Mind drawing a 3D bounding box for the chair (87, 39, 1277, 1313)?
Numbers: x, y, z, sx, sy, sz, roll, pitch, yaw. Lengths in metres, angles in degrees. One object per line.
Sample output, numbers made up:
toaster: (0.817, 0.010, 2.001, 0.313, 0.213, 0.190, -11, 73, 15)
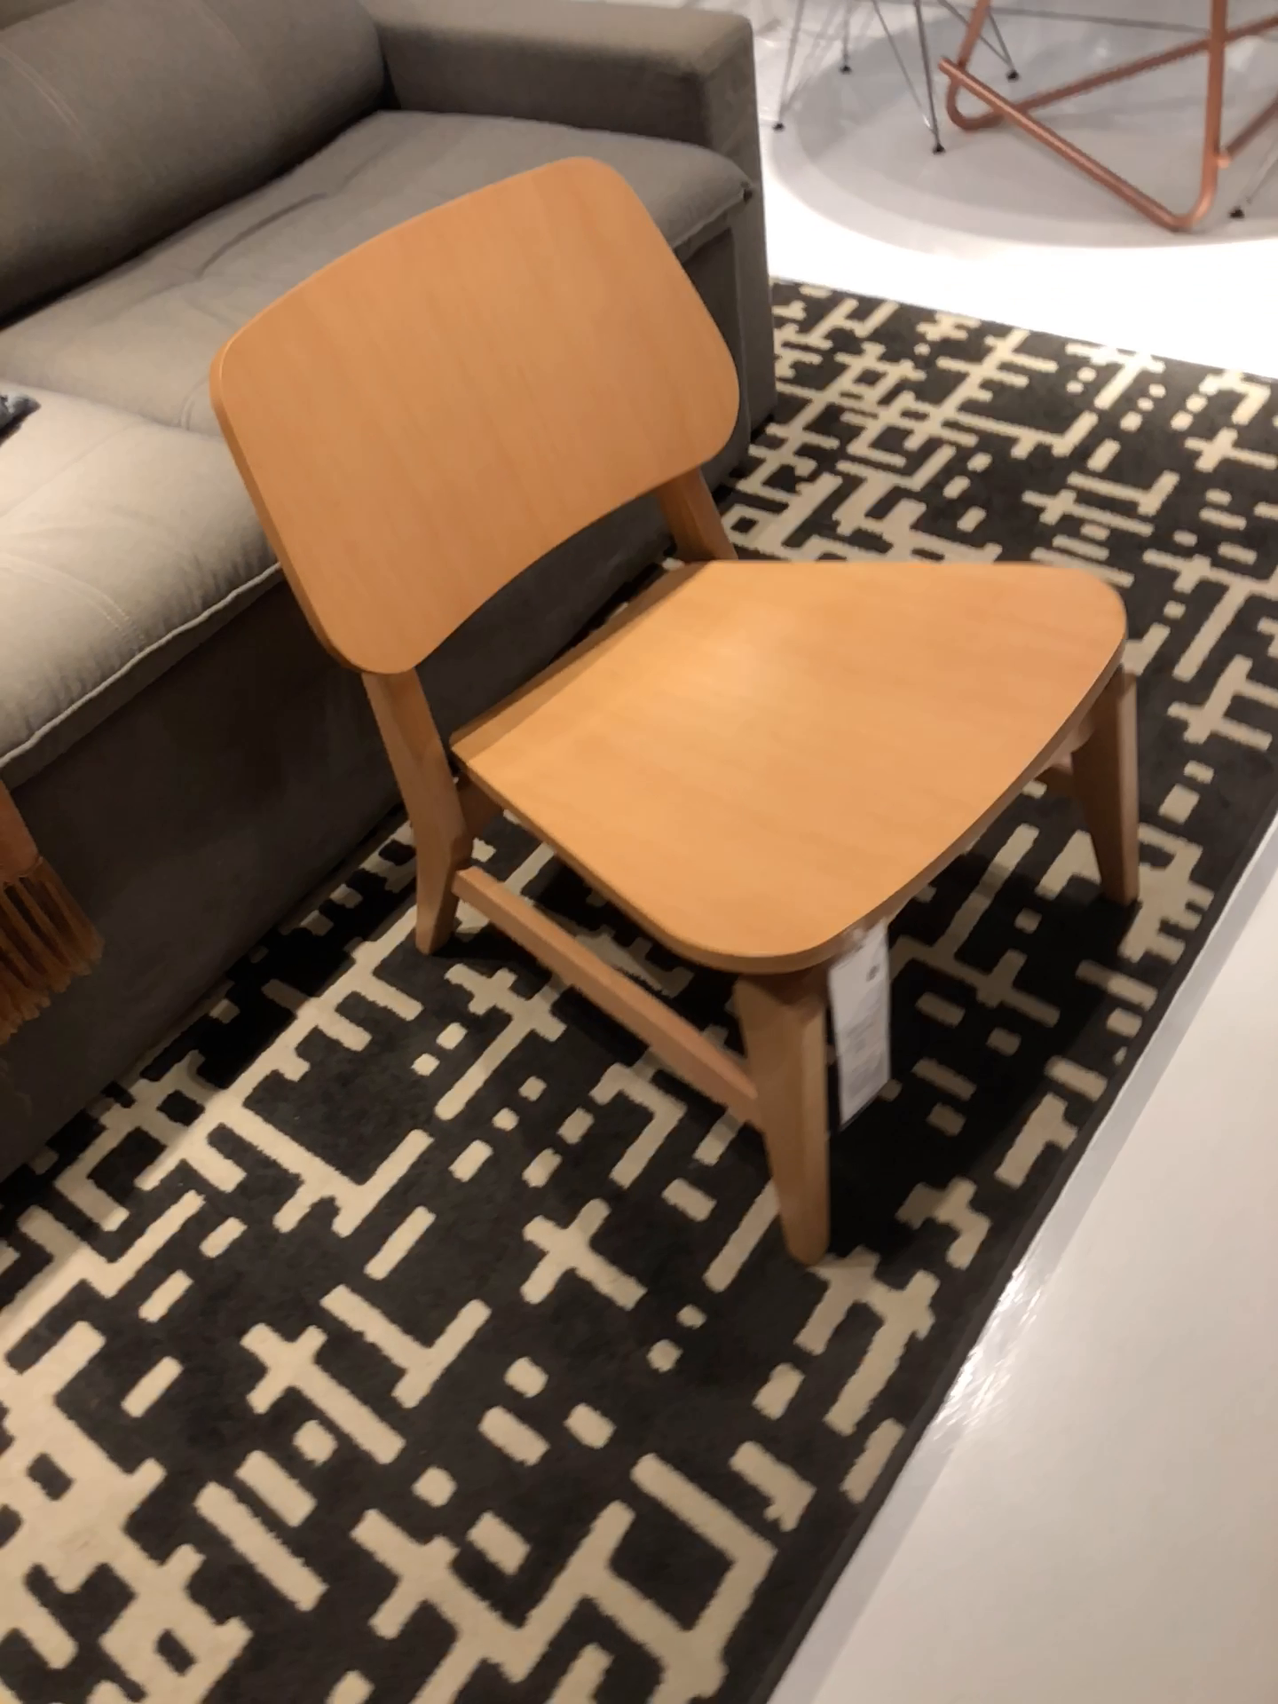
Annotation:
chair: (0.107, -0.189, 1.172, 0.652, 0.625, 0.642, 30, 58, 32)
